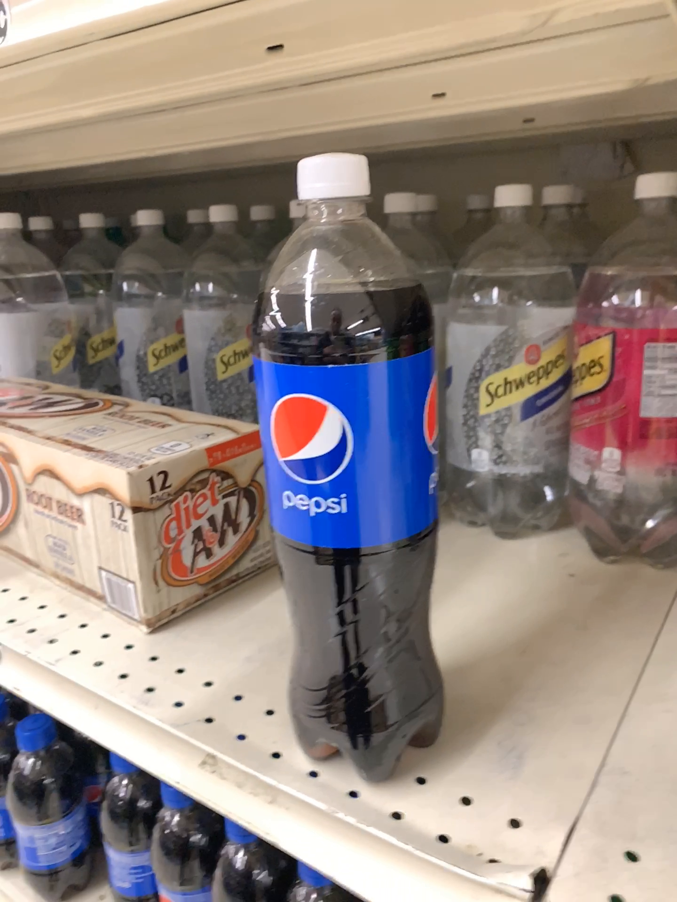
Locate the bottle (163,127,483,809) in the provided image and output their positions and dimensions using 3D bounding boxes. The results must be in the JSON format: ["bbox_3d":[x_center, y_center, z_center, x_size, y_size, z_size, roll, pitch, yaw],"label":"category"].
[{"bbox_3d":[0.001,0.007,0.333,0.101,0.279,0.090,9,20,32],"label":"bottle"}]
